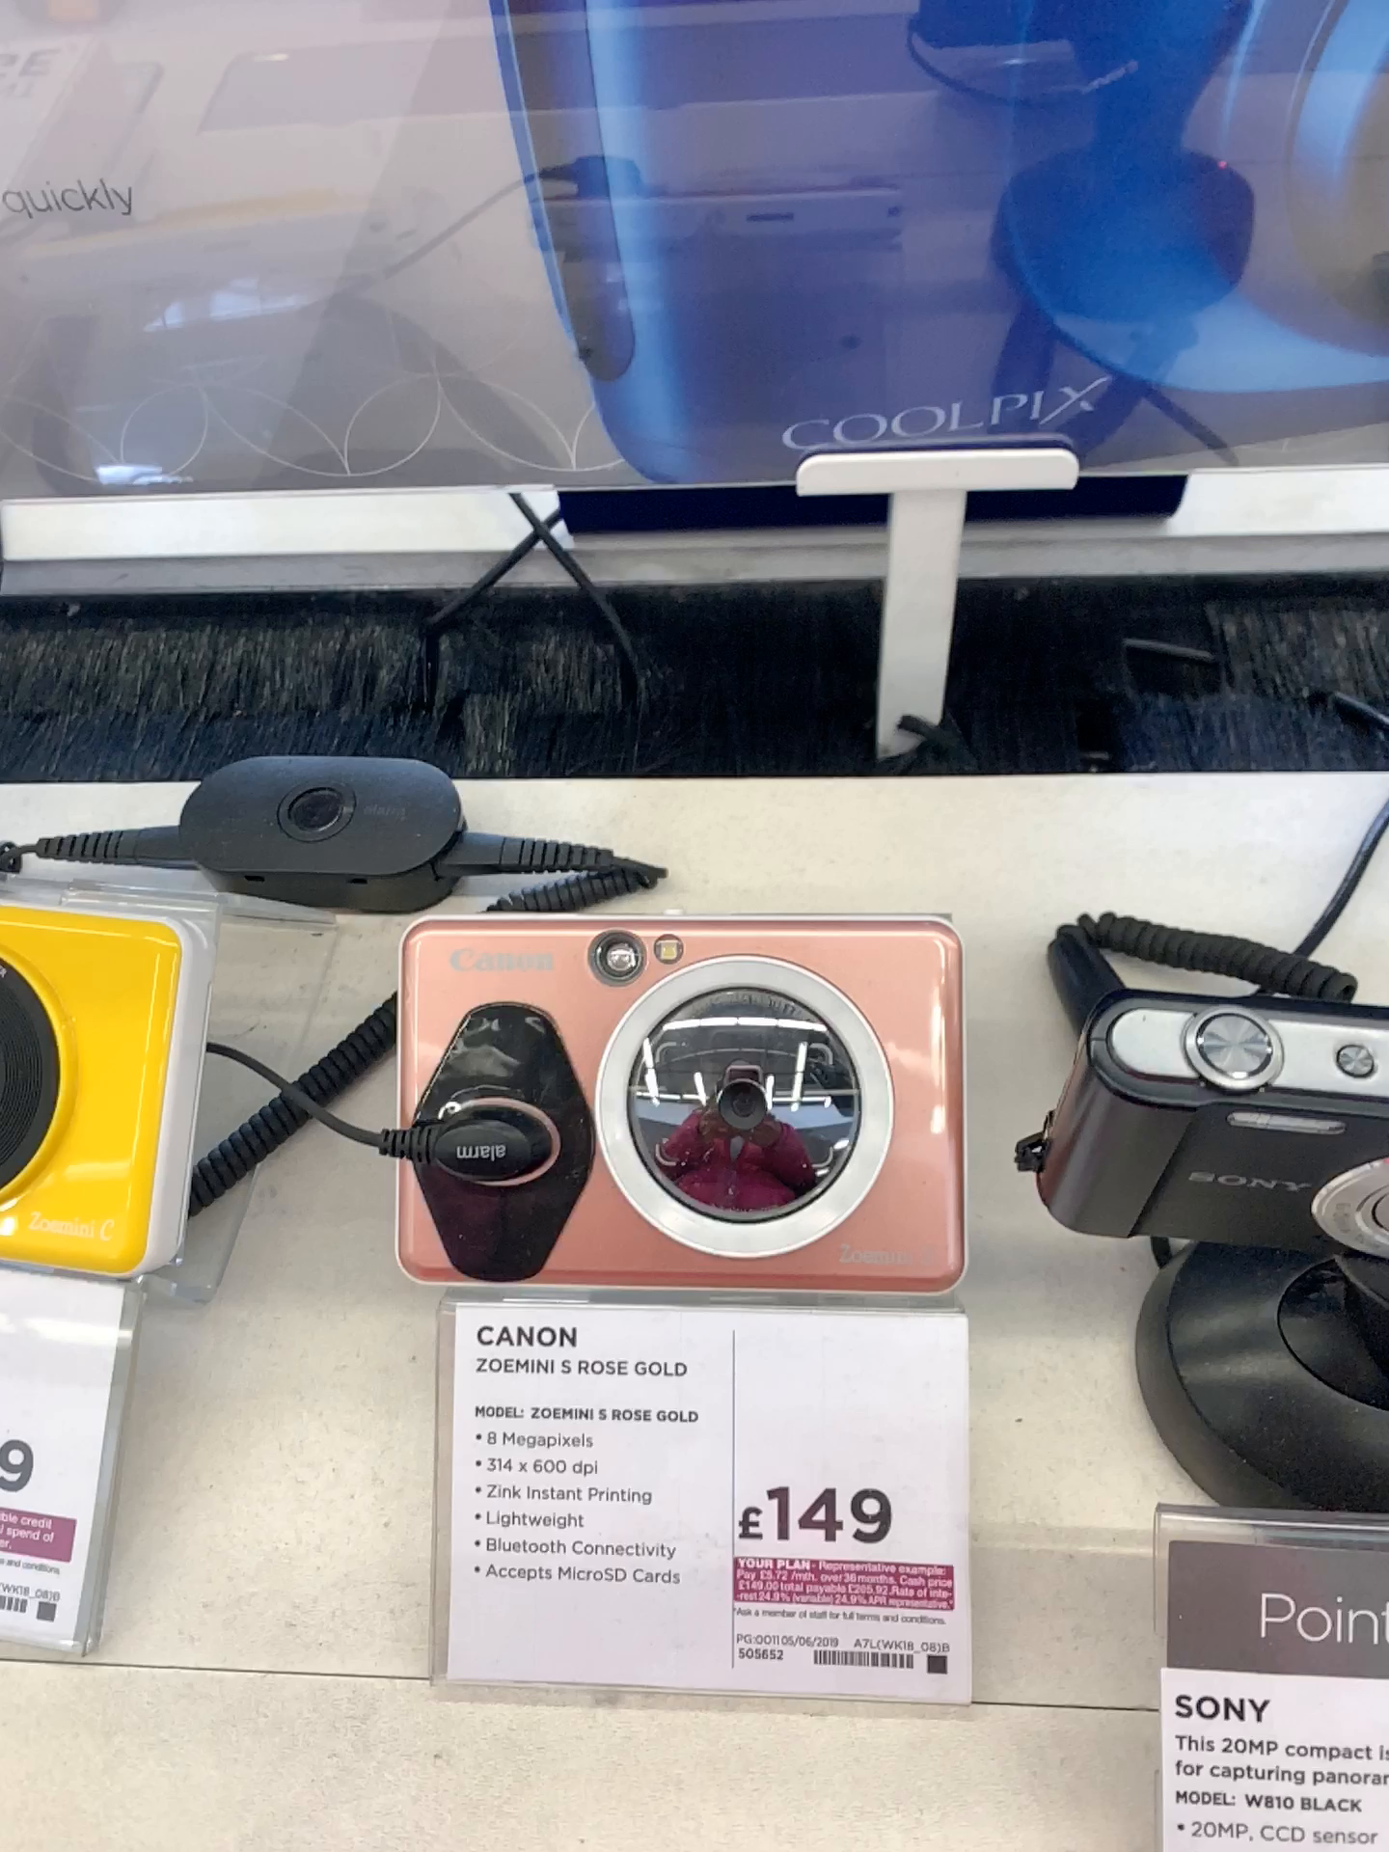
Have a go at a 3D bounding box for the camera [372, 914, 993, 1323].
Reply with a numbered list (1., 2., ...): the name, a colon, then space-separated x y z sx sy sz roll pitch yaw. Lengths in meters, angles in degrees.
1. camera: -0.003 0.039 0.307 0.129 0.020 0.083 0 88 4
